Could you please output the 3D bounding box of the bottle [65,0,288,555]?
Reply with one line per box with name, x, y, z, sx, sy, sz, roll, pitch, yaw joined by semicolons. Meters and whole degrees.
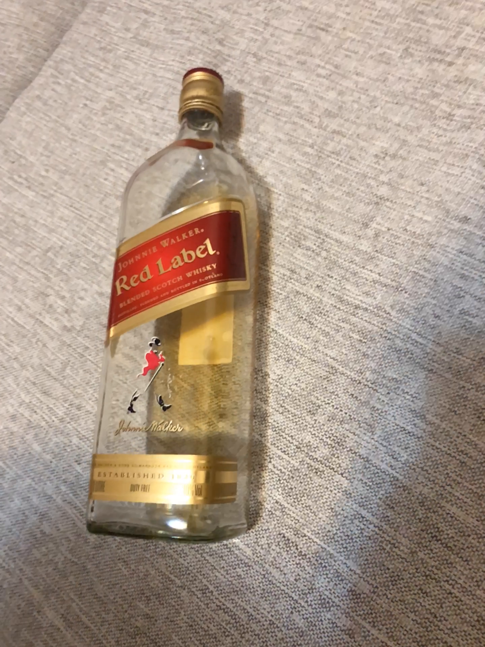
bottle;-0.028;-0.038;0.321;0.090;0.070;0.310;-3;75;18
